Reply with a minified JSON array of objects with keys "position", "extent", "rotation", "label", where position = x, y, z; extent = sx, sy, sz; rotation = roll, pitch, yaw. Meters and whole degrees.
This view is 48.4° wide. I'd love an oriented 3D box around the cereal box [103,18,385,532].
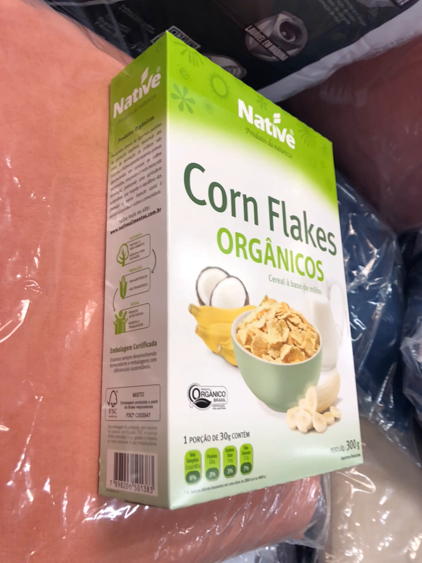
[{"position":[0.029,0.001,0.296],"extent":[0.181,0.060,0.240],"rotation":[14,69,-46],"label":"cereal box"}]
